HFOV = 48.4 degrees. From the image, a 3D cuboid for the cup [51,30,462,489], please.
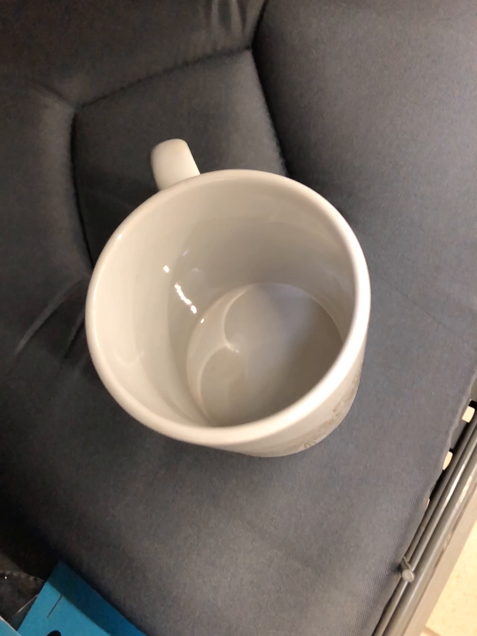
[{"bbox_3d":[0.006,-0.010,0.204,0.090,0.100,0.120,-20,71,6],"label":"cup"}]
